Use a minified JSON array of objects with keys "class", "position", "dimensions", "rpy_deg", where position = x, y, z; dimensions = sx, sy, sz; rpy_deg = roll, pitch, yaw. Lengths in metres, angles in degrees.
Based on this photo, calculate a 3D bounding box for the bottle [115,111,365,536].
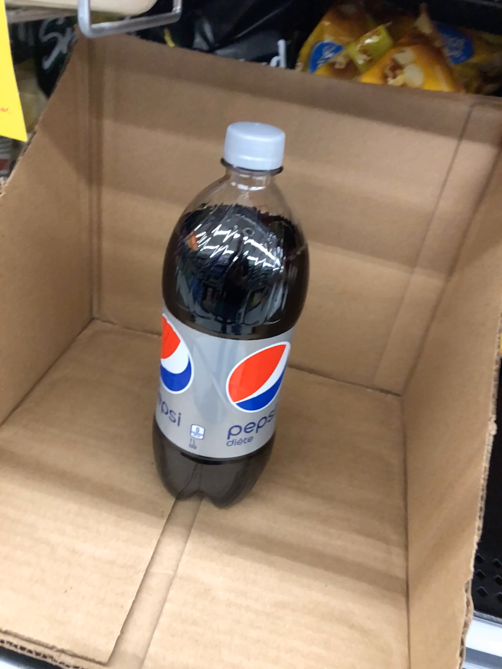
[{"class":"bottle","position":[-0.021,0.001,0.321],"dimensions":[0.090,0.228,0.081],"rpy_deg":[-11,40,-24]}]
